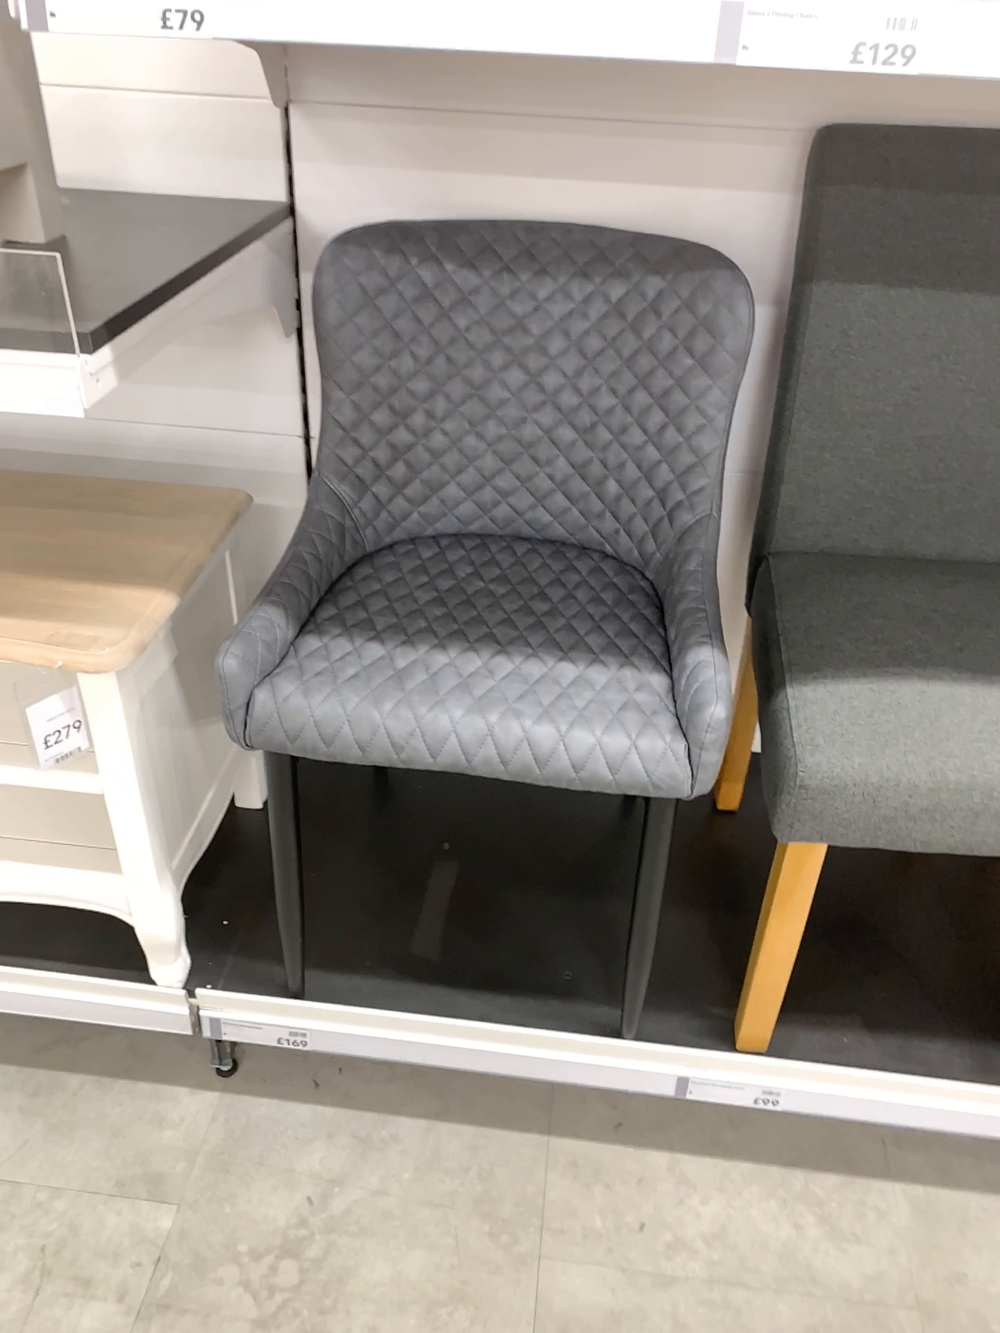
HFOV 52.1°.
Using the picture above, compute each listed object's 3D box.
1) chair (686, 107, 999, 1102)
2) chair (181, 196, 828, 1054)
[{"bbox_3d":[0.502,-0.068,1.142,0.430,0.911,0.565,5,34,4],"label":"chair"},{"bbox_3d":[0.012,-0.059,1.197,0.480,0.792,0.545,5,34,4],"label":"chair"}]
